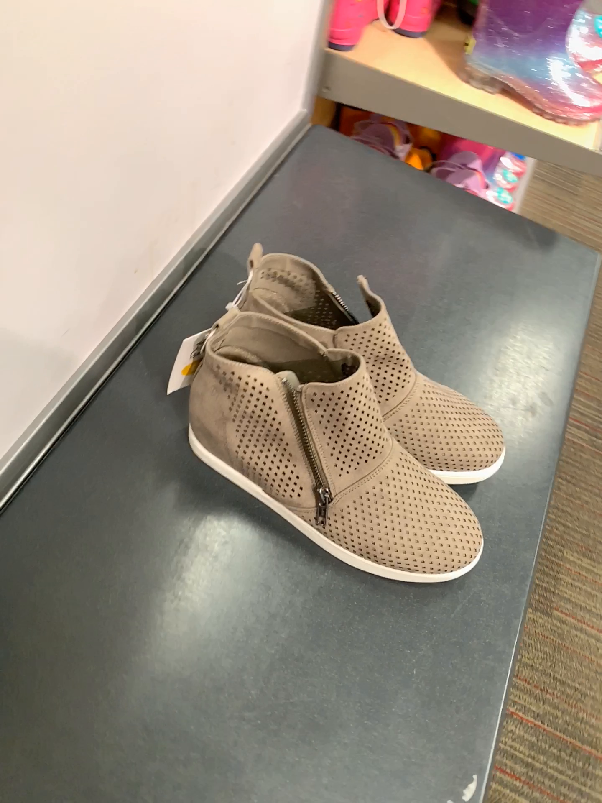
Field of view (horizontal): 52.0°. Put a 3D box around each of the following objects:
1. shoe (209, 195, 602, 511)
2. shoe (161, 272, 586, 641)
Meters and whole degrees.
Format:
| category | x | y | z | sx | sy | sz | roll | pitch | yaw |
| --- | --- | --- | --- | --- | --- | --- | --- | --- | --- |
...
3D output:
| category | x | y | z | sx | sy | sz | roll | pitch | yaw |
| --- | --- | --- | --- | --- | --- | --- | --- | --- | --- |
| shoe | 0.070 | -0.030 | 0.471 | 0.250 | 0.140 | 0.100 | 20 | 56 | 1 |
| shoe | 0.036 | 0.044 | 0.438 | 0.250 | 0.140 | 0.100 | 29 | 57 | 7 |
